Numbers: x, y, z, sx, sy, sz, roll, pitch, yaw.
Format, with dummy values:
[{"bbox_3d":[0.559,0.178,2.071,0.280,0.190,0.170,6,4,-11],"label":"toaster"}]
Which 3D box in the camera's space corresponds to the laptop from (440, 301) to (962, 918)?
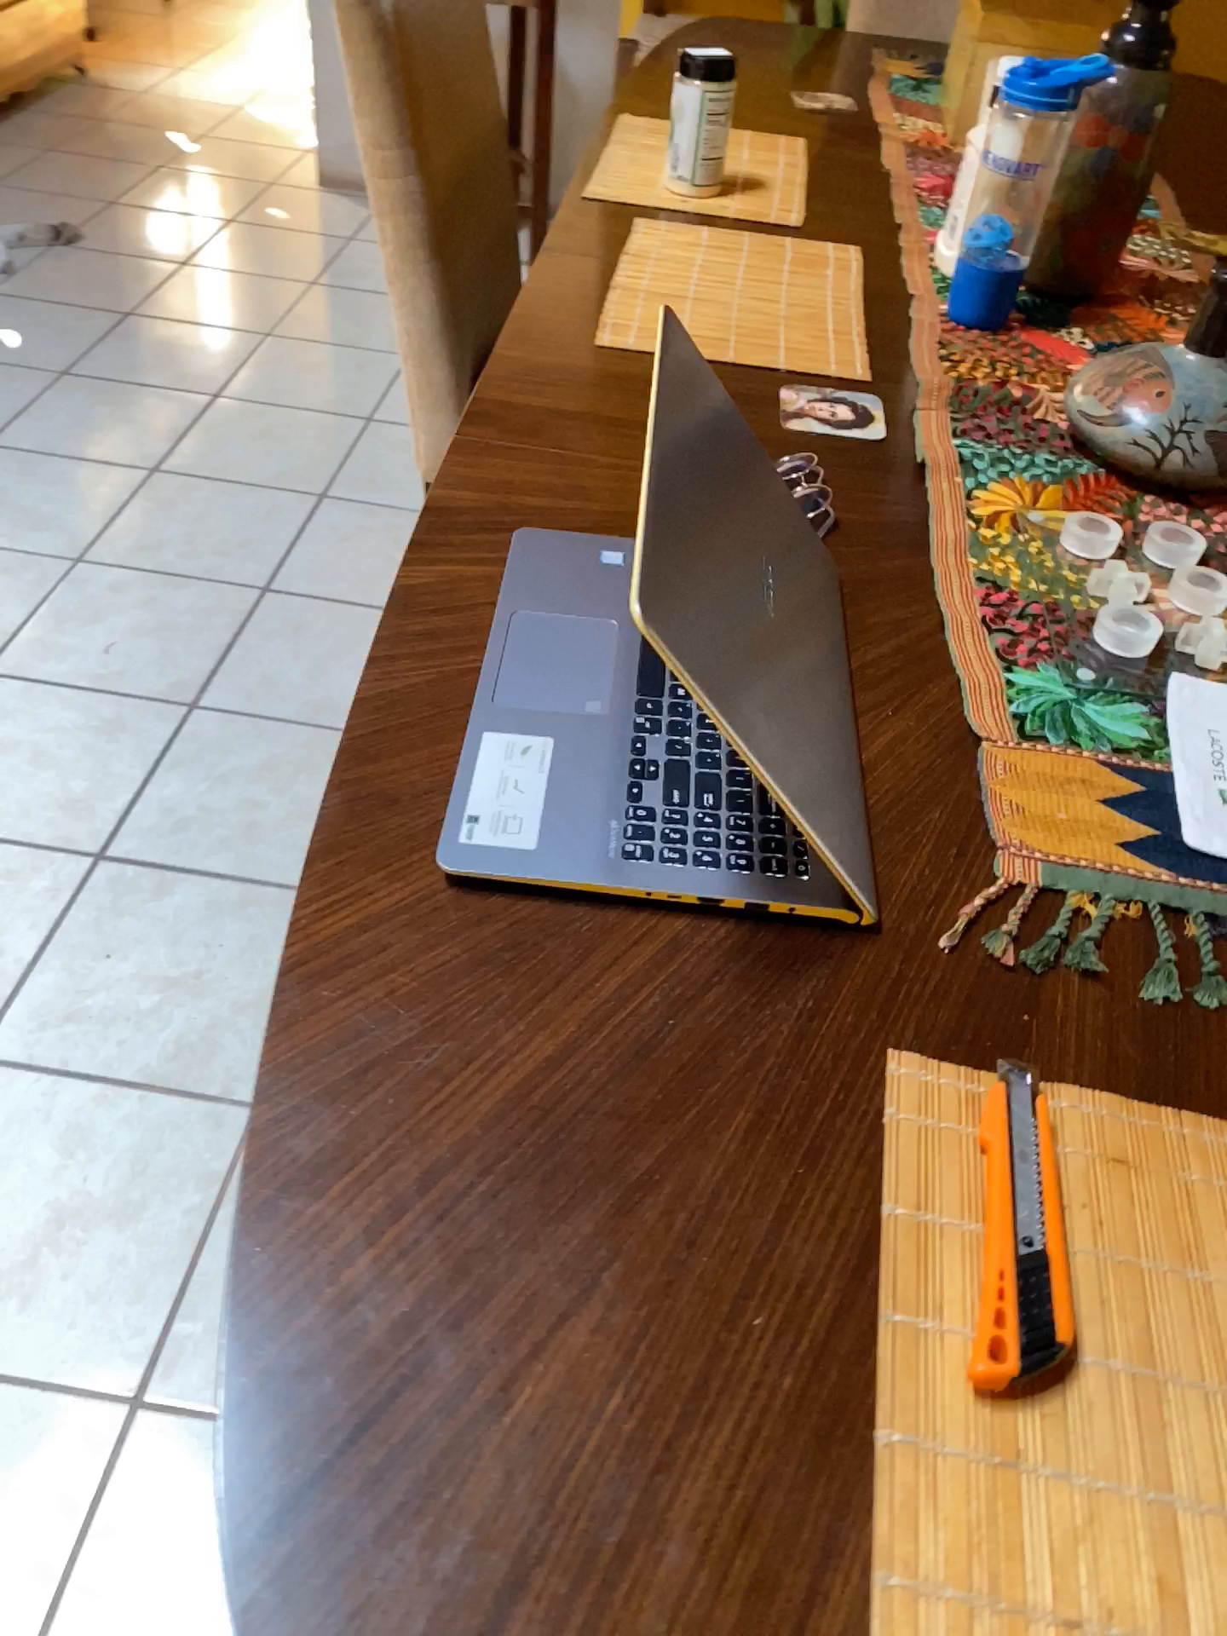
[{"bbox_3d":[0.044,-0.151,0.795,0.250,0.181,0.379,6,43,-1],"label":"laptop"}]
